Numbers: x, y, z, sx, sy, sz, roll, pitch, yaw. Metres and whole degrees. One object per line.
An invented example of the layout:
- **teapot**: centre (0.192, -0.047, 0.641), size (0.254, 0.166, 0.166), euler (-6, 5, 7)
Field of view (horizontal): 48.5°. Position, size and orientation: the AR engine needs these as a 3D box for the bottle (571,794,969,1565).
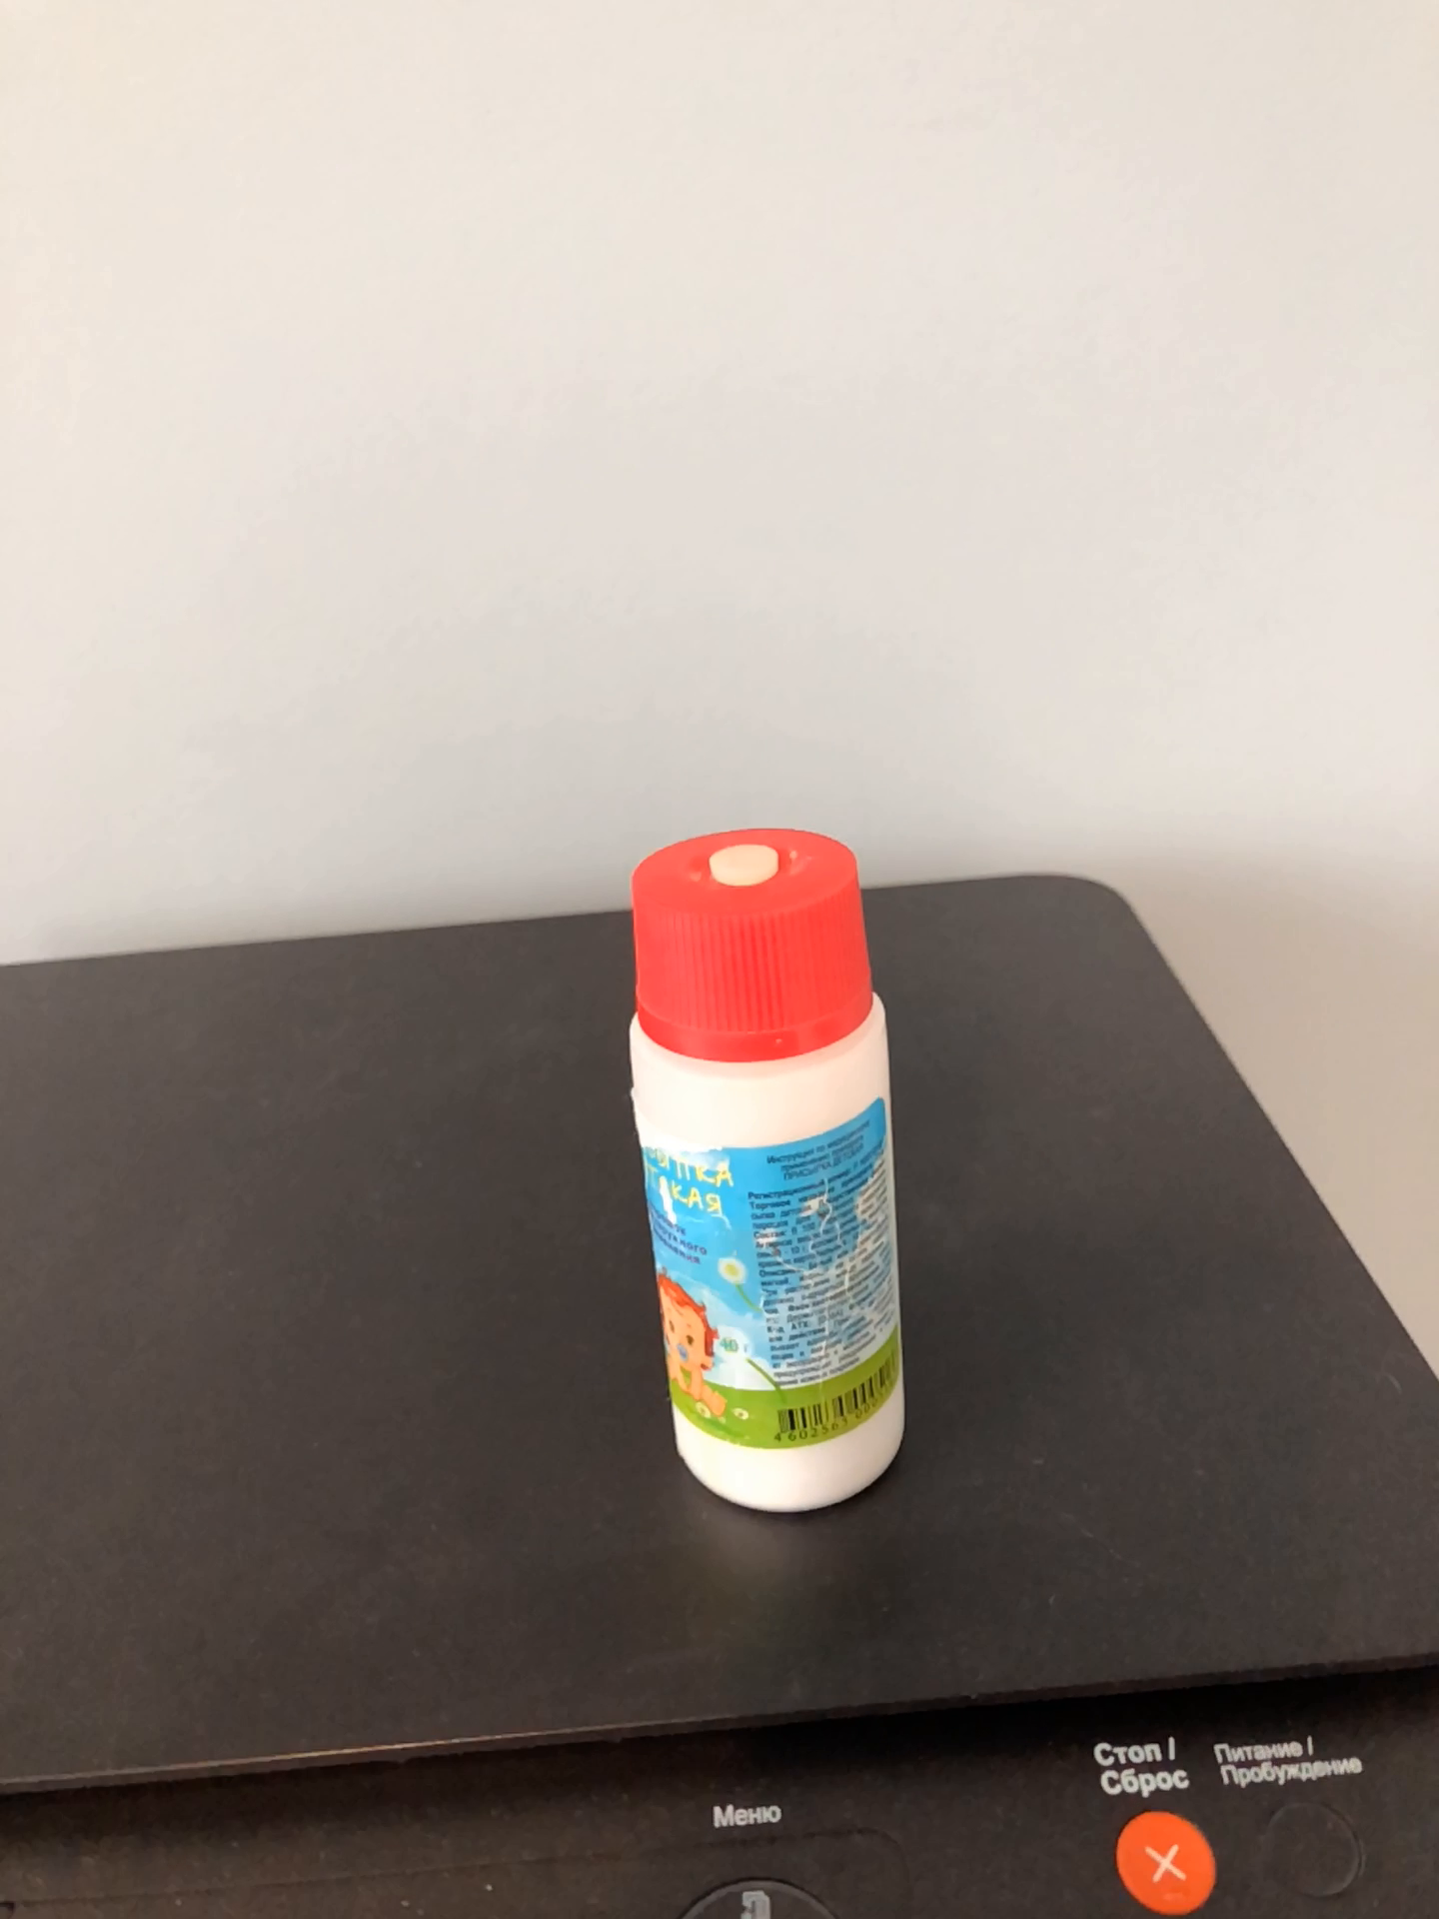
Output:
- **bottle**: centre (0.011, 0.036, 0.266), size (0.044, 0.112, 0.042), euler (-4, 26, 2)
